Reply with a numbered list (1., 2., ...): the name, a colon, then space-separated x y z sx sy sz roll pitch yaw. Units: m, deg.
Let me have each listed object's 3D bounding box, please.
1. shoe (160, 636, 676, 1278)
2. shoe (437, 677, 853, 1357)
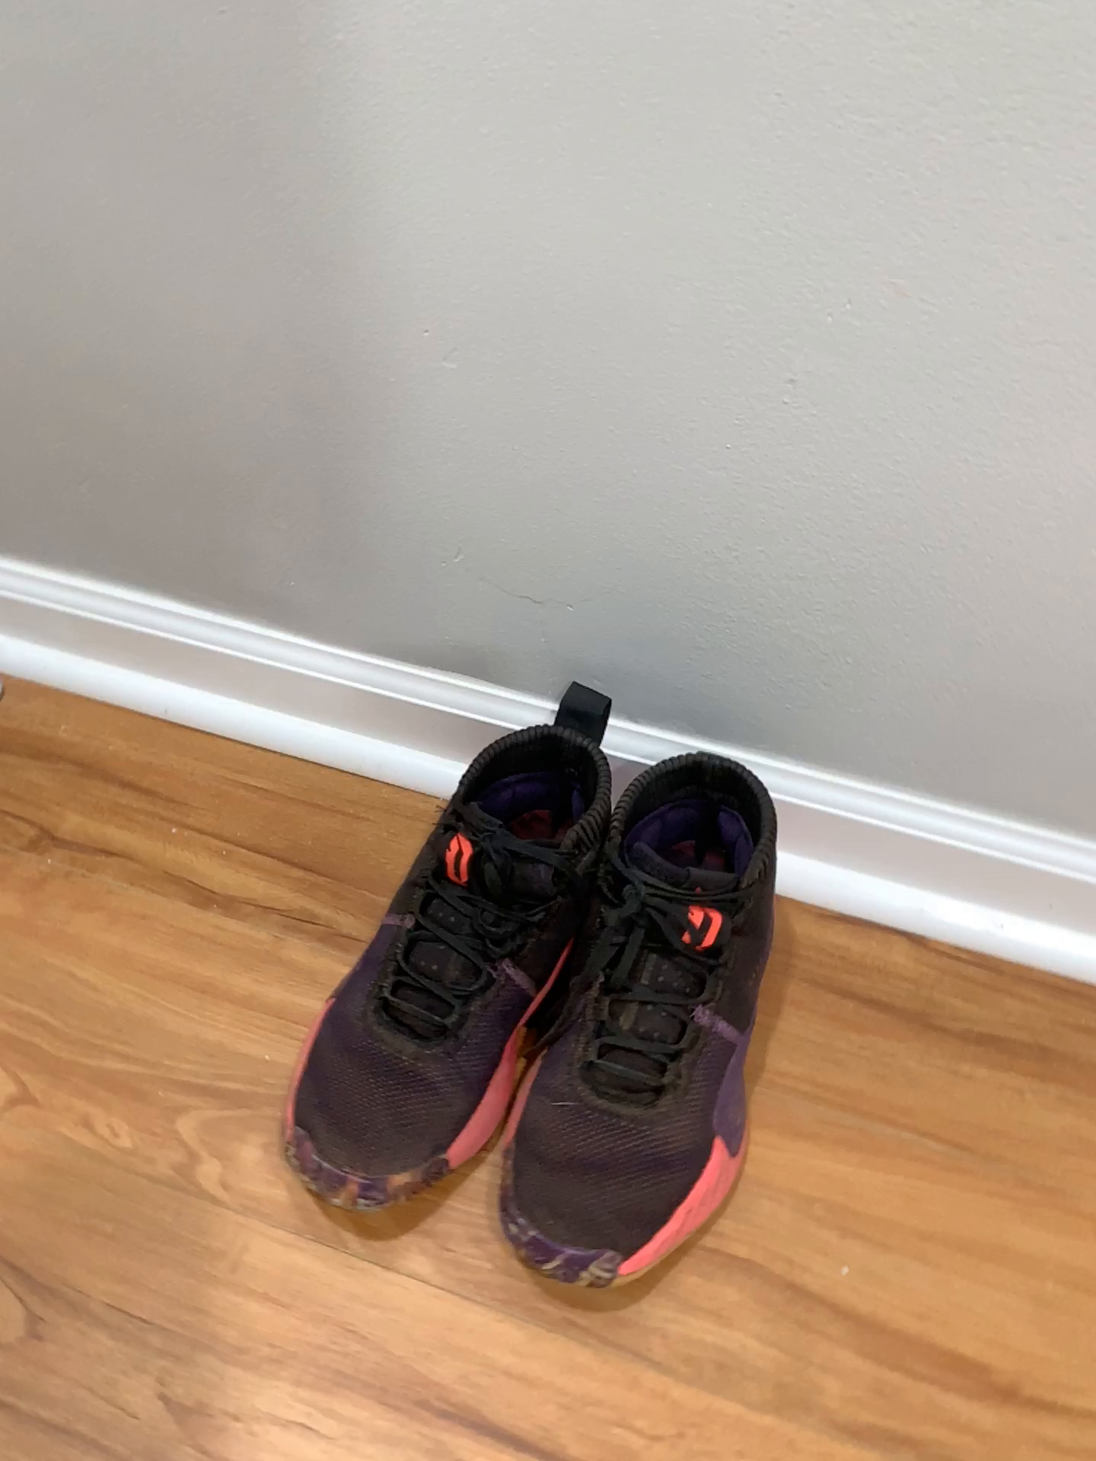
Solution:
1. shoe: -0.048 0.099 0.587 0.120 0.131 0.287 20 46 17
2. shoe: 0.059 0.124 0.567 0.119 0.131 0.288 15 44 13
